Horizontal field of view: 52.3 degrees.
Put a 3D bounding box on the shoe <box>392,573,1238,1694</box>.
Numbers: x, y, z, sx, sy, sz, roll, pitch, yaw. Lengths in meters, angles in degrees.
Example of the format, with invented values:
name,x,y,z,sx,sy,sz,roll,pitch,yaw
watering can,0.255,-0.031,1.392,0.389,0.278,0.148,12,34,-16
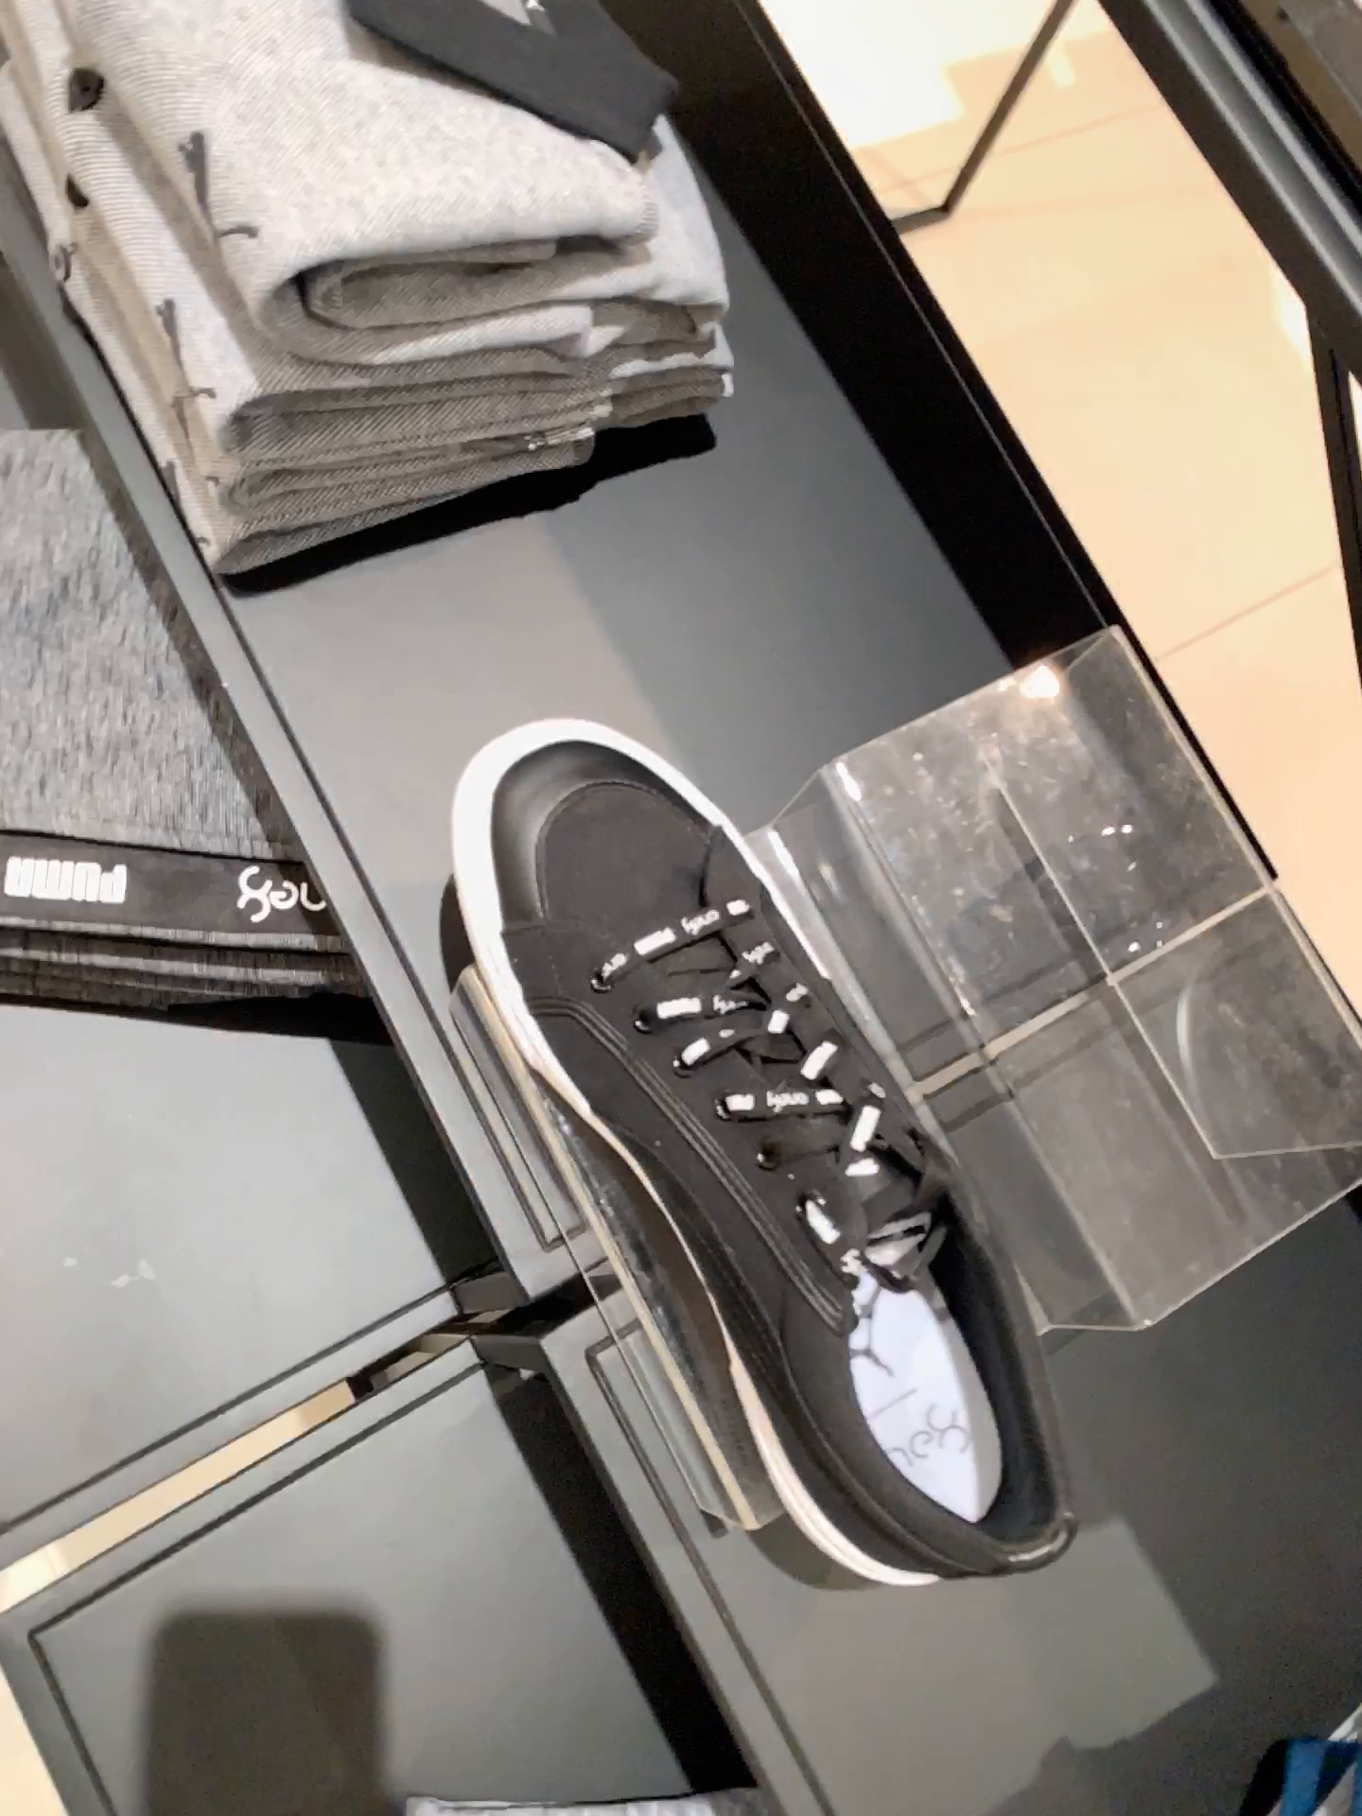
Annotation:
name,x,y,z,sx,sy,sz,roll,pitch,yaw
shoe,0.026,0.059,0.419,0.110,0.100,0.280,-24,81,-21
